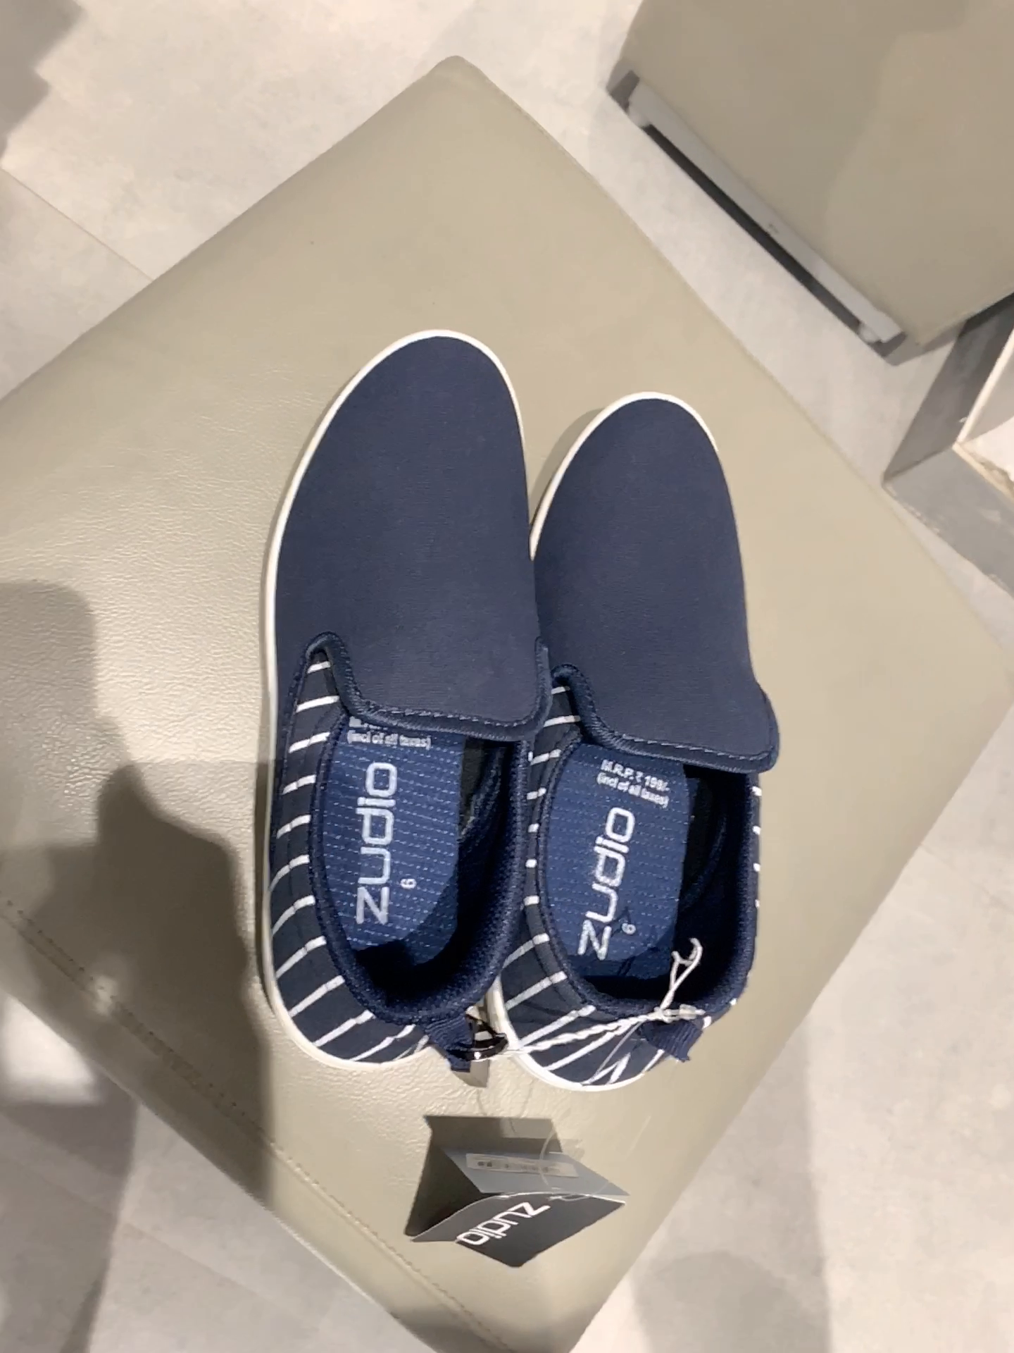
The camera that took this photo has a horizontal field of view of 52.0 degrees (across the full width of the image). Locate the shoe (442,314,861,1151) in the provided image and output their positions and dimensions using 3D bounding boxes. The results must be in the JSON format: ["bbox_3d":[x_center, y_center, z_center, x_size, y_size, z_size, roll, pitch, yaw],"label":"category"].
[{"bbox_3d":[0.055,0.021,0.393,0.100,0.090,0.270,11,78,-16],"label":"shoe"}]

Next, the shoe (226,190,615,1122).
[{"bbox_3d":[-0.031,-0.005,0.363,0.100,0.090,0.280,6,79,-17],"label":"shoe"}]
